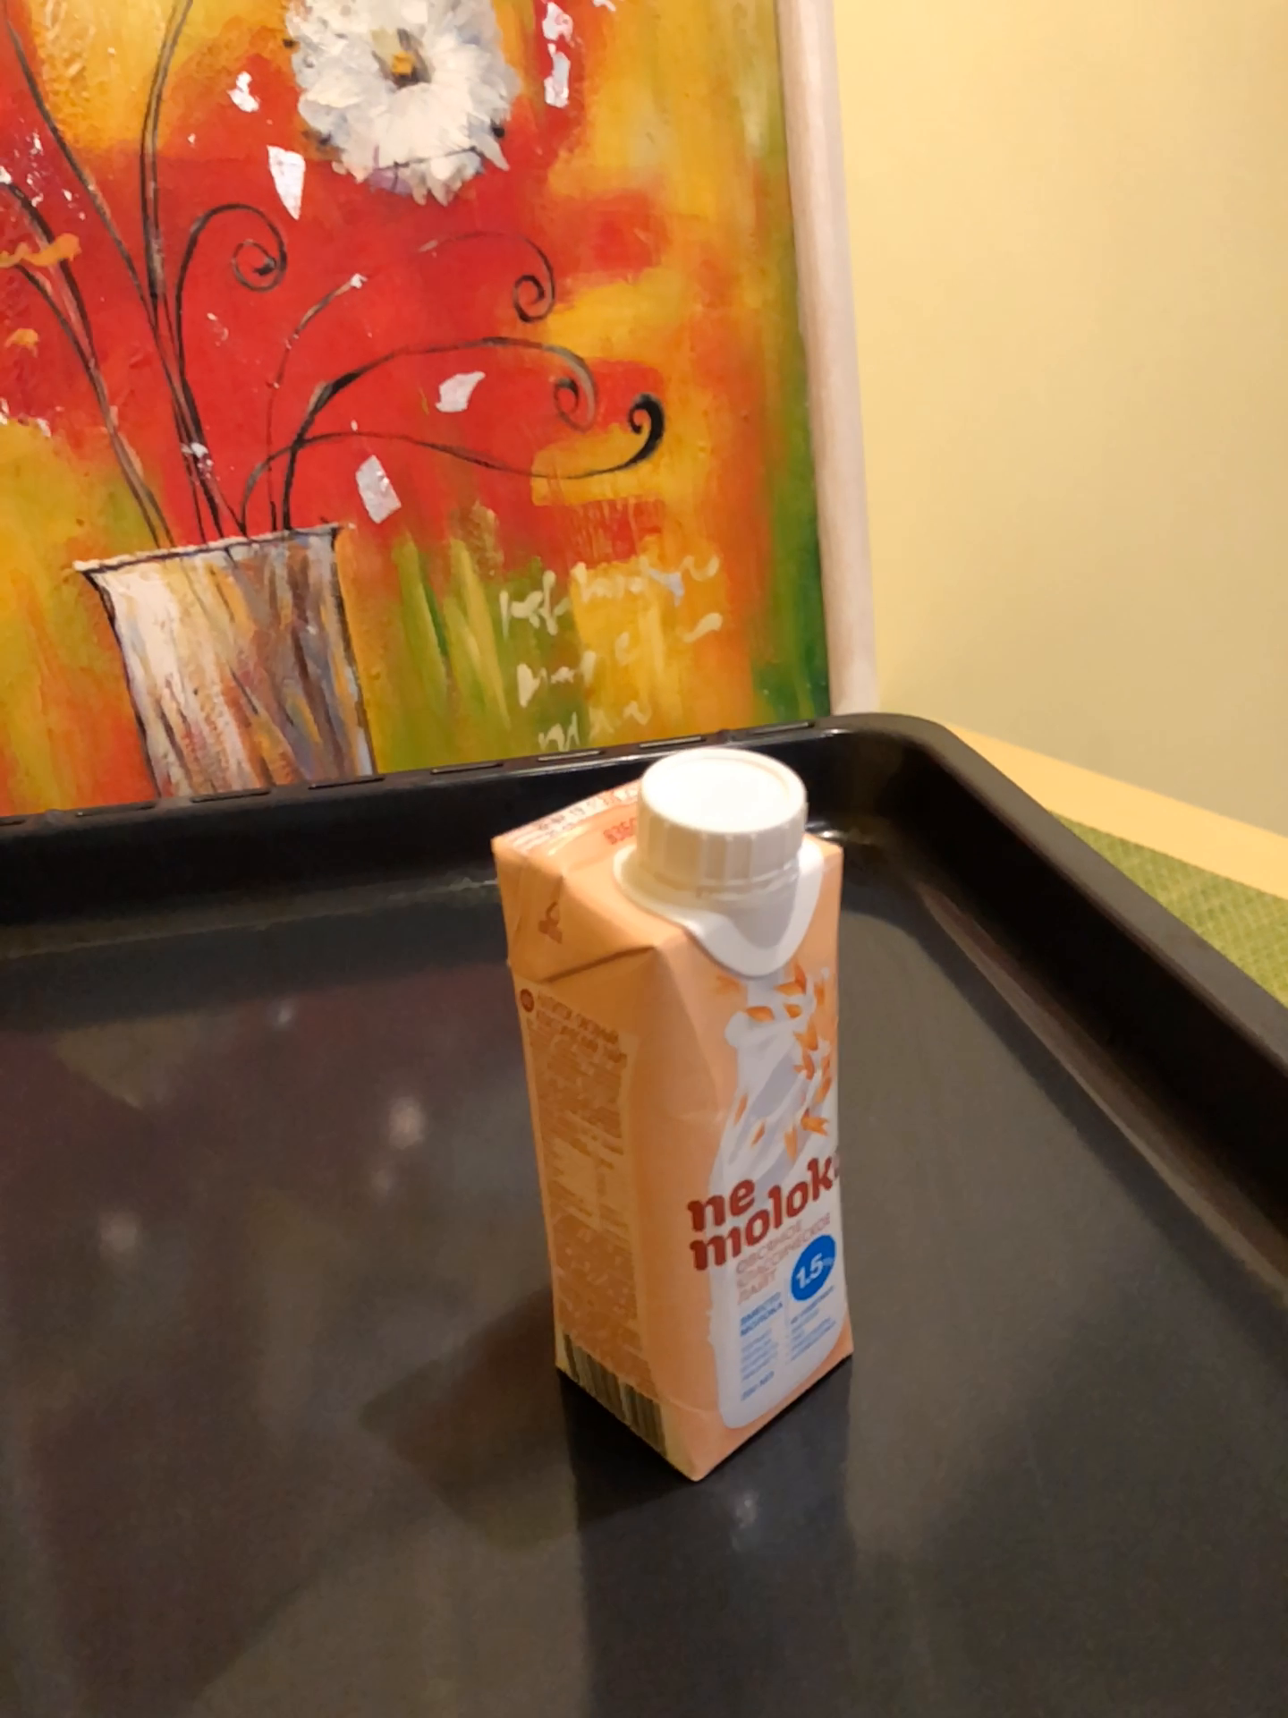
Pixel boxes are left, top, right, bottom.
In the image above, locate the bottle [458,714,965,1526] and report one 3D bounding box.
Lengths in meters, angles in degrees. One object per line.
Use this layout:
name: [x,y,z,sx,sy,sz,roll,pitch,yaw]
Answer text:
bottle: [0.014,0.044,0.262,0.060,0.119,0.060,-2,24,1]
